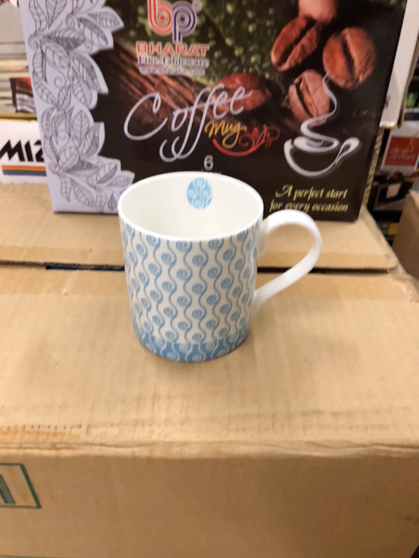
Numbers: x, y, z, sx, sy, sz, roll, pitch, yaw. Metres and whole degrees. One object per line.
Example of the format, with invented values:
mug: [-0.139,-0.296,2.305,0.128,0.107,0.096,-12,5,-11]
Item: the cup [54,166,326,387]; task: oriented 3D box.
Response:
cup: [-0.009,-0.001,0.244,0.110,0.089,0.070,1,37,-2]
